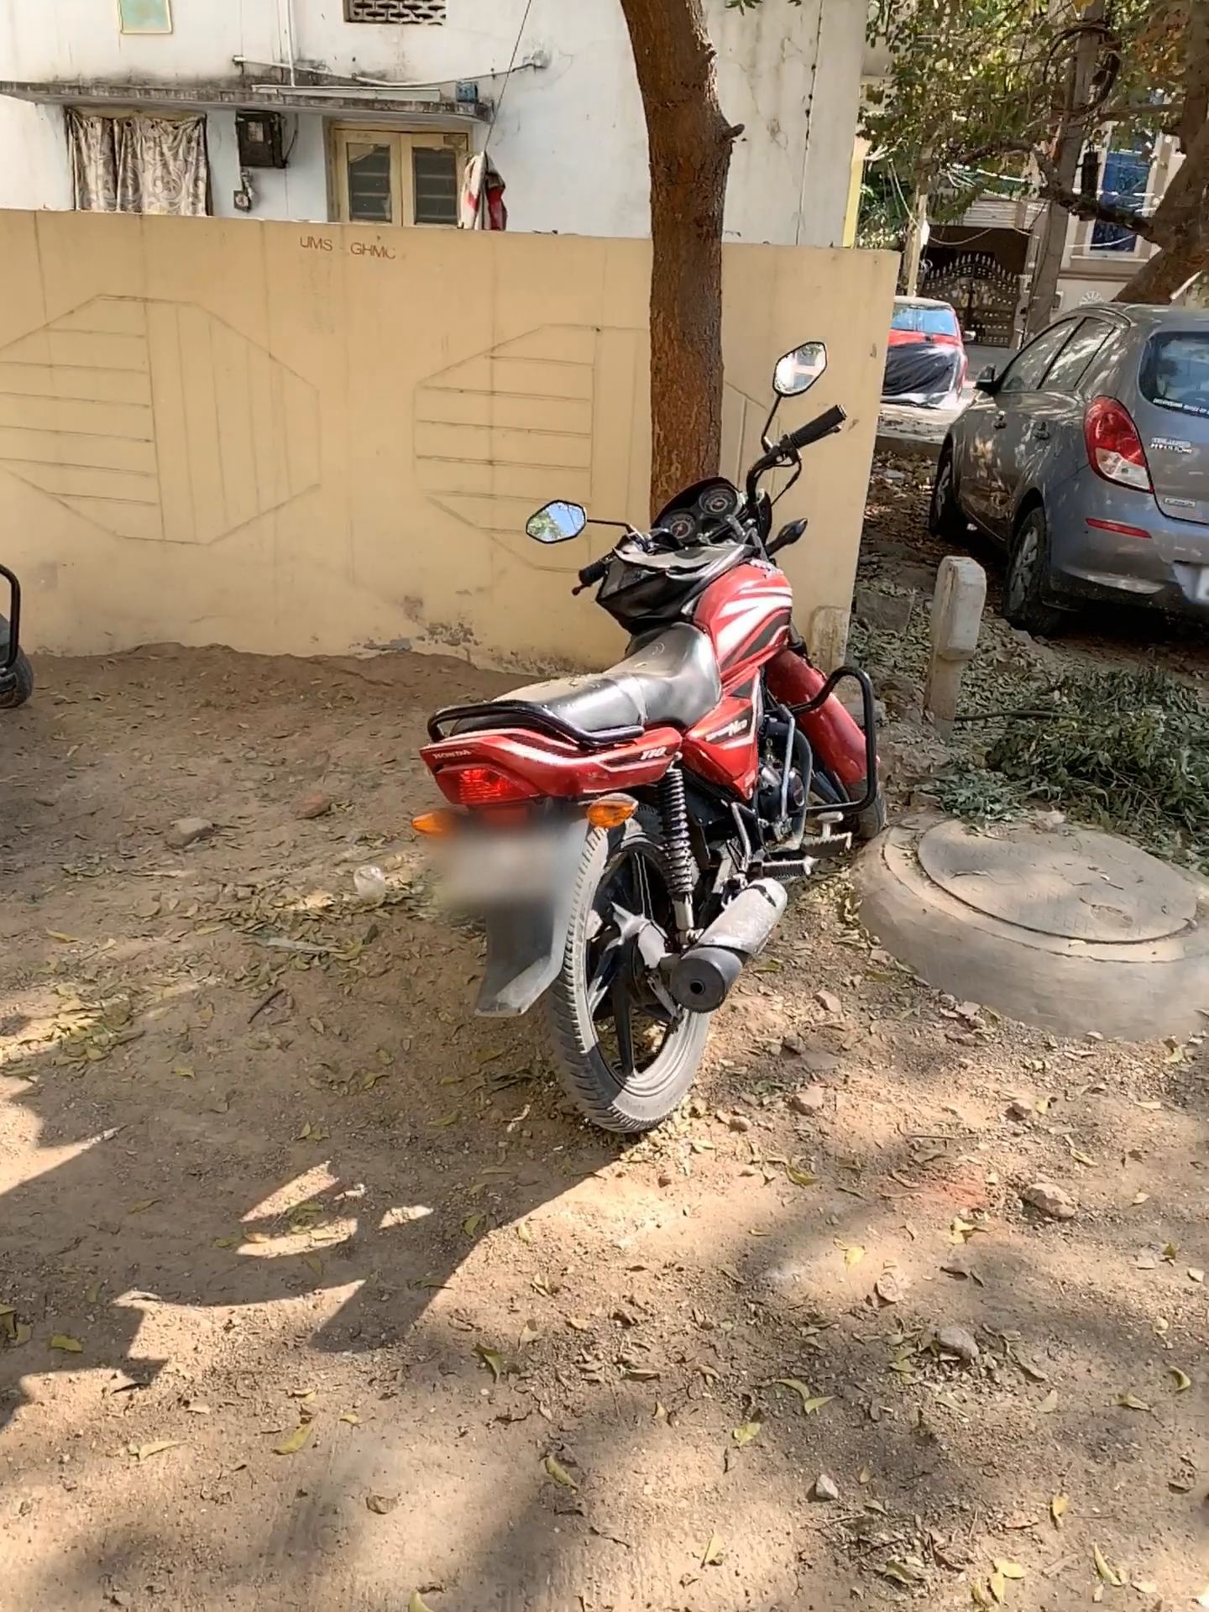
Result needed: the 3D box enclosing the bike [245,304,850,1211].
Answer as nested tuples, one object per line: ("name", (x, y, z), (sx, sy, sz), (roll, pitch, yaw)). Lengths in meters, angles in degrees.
("bike", (-0.004, -0.329, 2.665), (0.776, 1.179, 1.649), (9, 28, 14))
